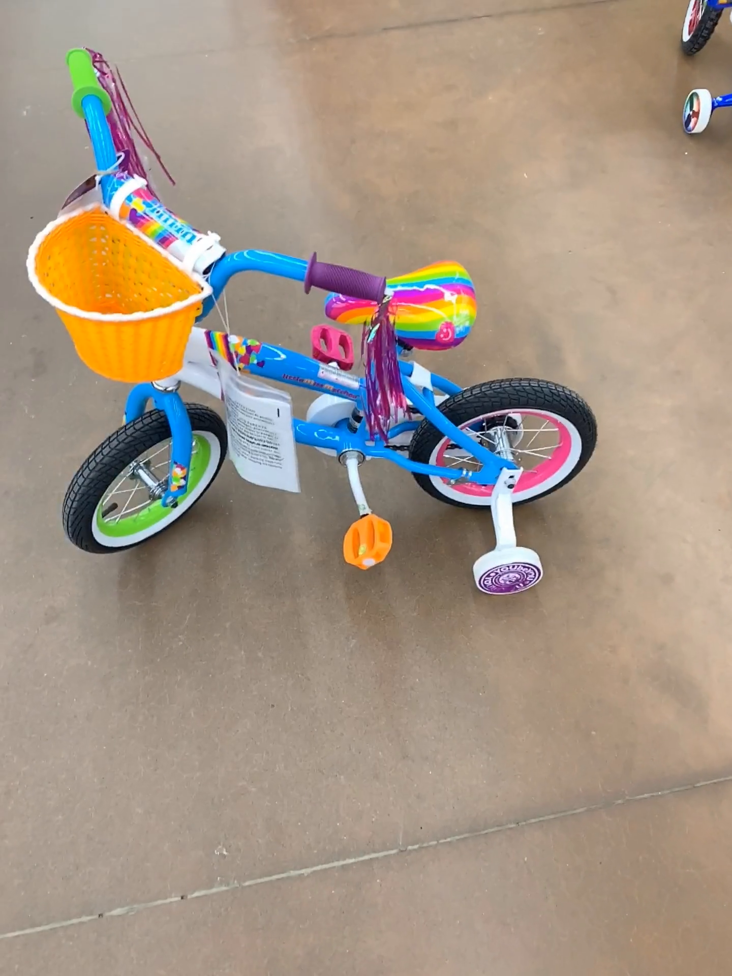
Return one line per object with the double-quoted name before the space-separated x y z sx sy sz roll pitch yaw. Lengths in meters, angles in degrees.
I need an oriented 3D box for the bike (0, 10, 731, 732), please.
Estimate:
"bike" -0.052 -0.120 1.040 0.833 0.667 0.523 -9 52 -2
